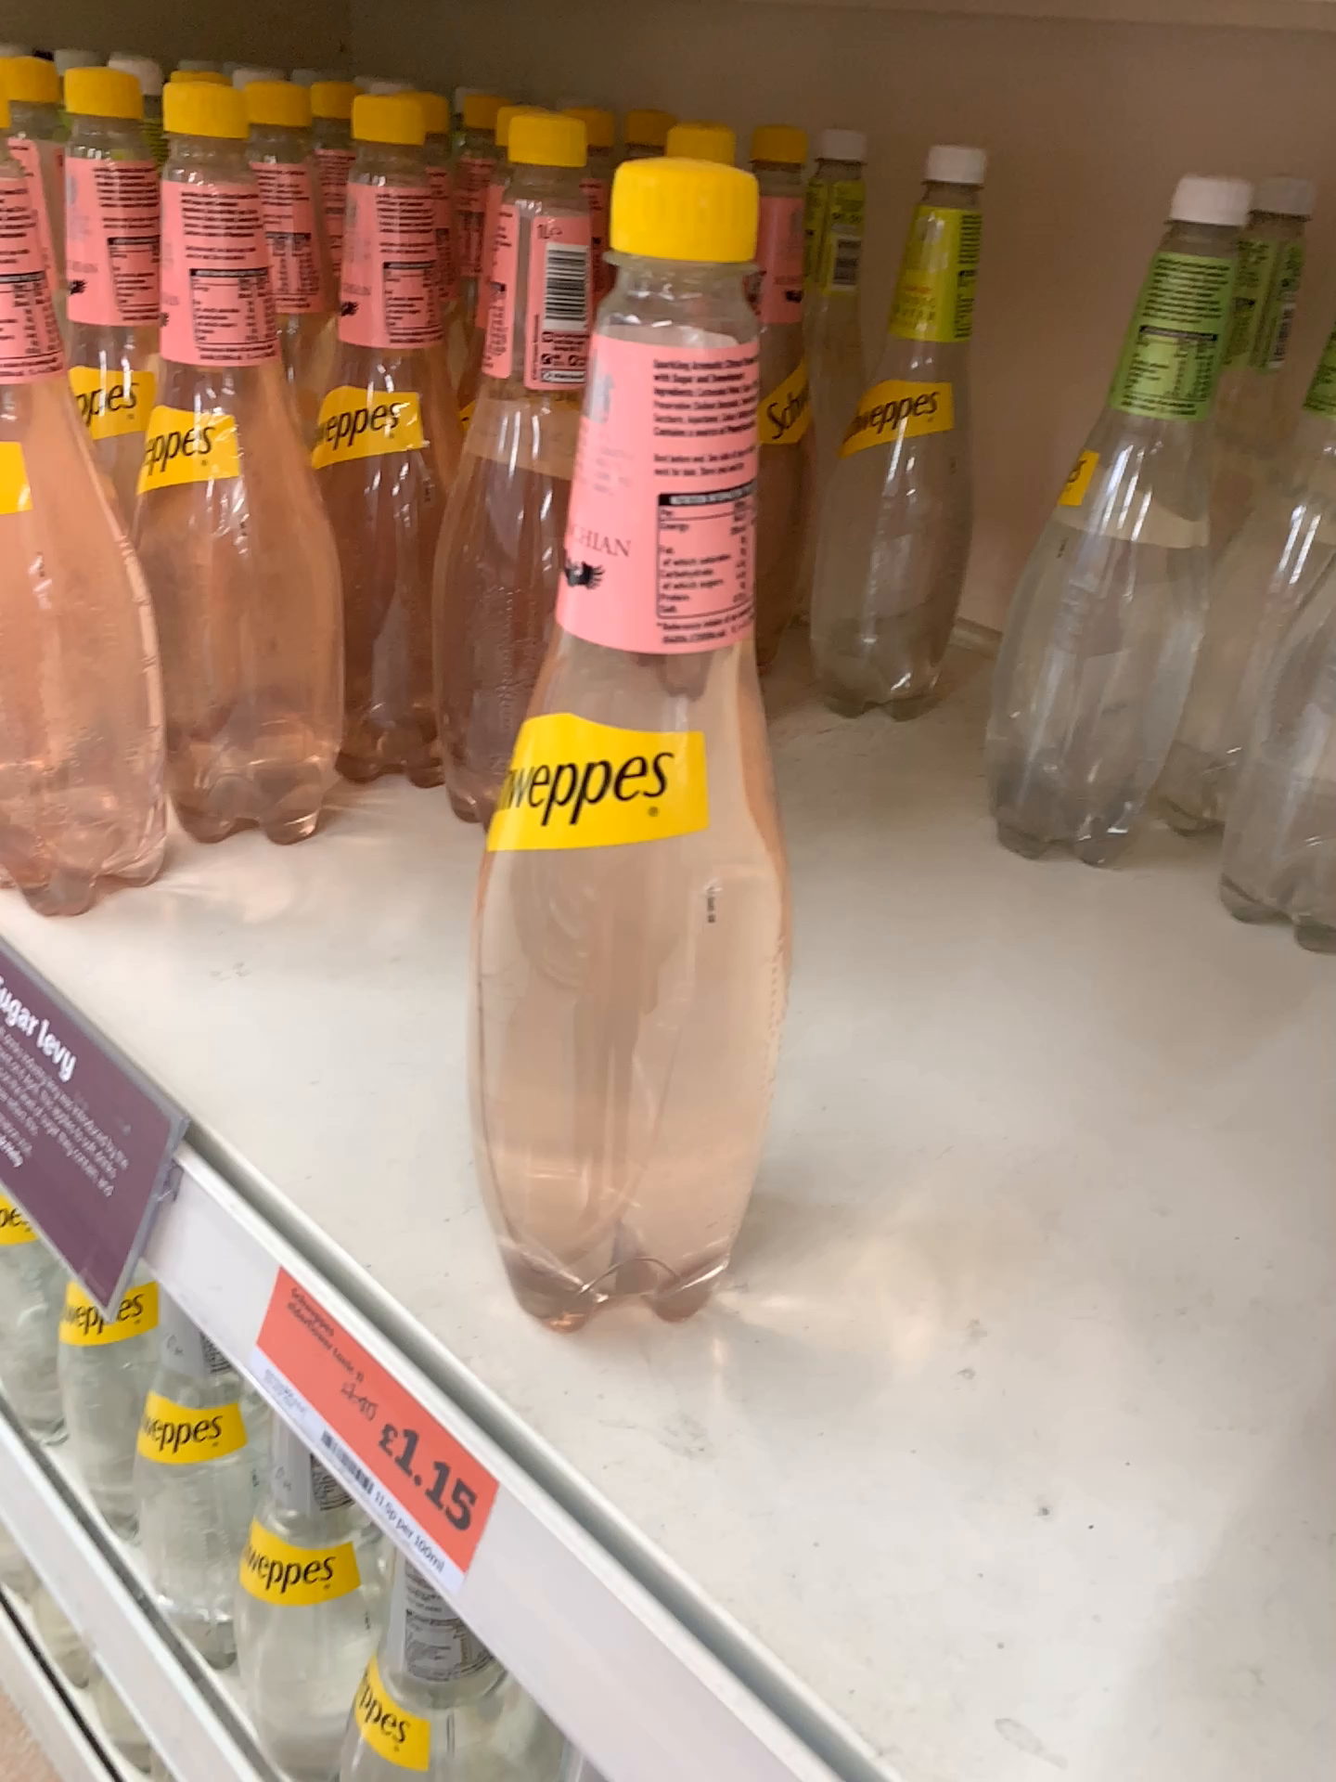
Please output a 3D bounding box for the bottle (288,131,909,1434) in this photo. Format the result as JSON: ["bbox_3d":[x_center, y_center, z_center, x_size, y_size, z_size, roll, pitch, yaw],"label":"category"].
[{"bbox_3d":[-0.026,-0.015,0.344,0.090,0.299,0.085,4,30,-2],"label":"bottle"}]
